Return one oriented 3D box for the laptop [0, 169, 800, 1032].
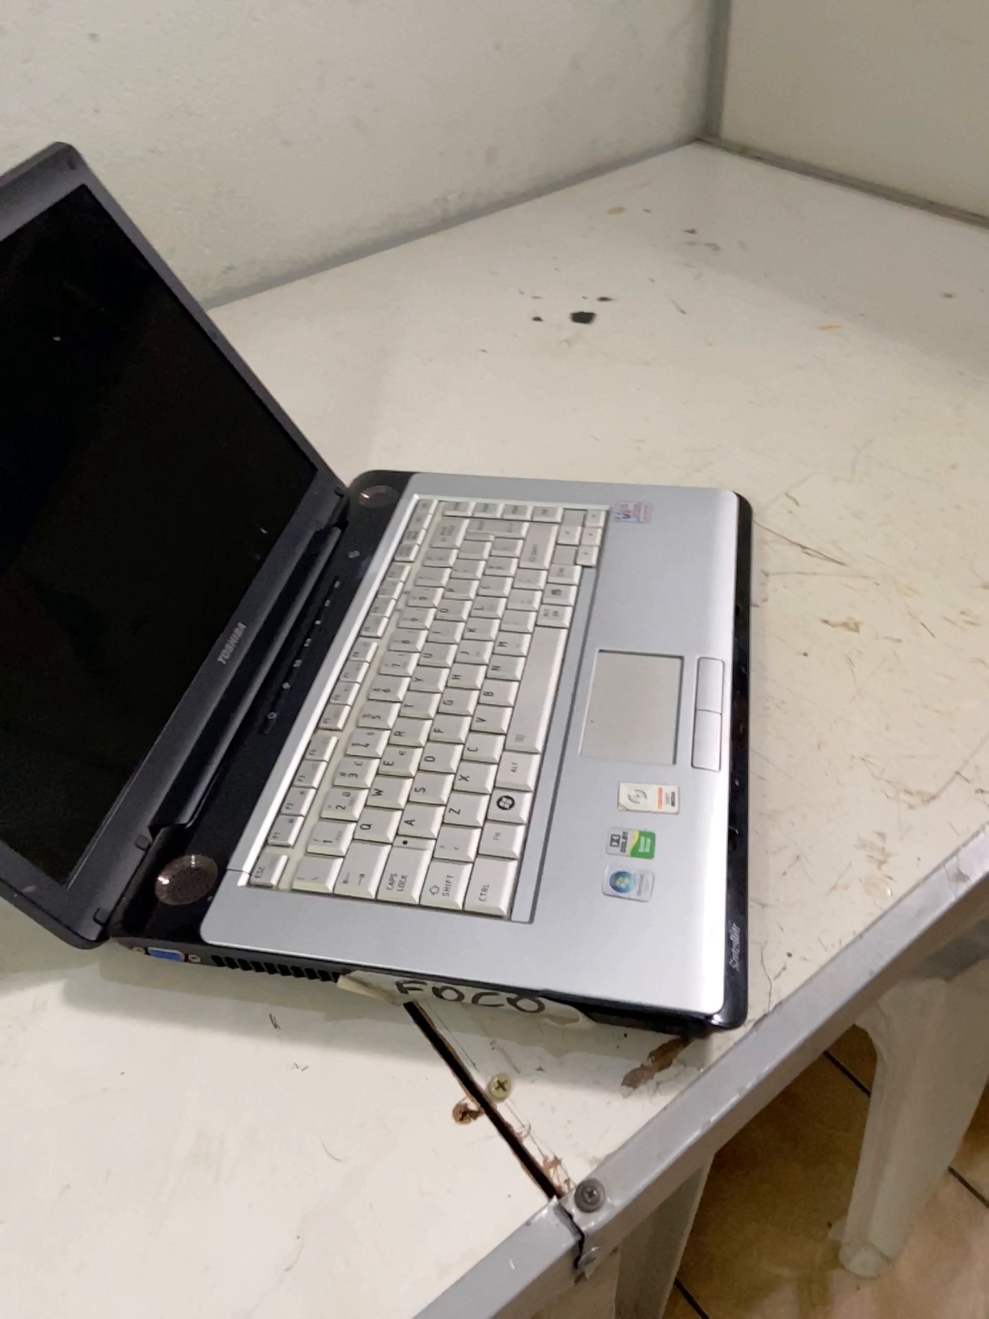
[{"bbox_3d":[-0.079,-0.067,0.477,0.393,0.200,0.352,5,43,10],"label":"laptop"}]
